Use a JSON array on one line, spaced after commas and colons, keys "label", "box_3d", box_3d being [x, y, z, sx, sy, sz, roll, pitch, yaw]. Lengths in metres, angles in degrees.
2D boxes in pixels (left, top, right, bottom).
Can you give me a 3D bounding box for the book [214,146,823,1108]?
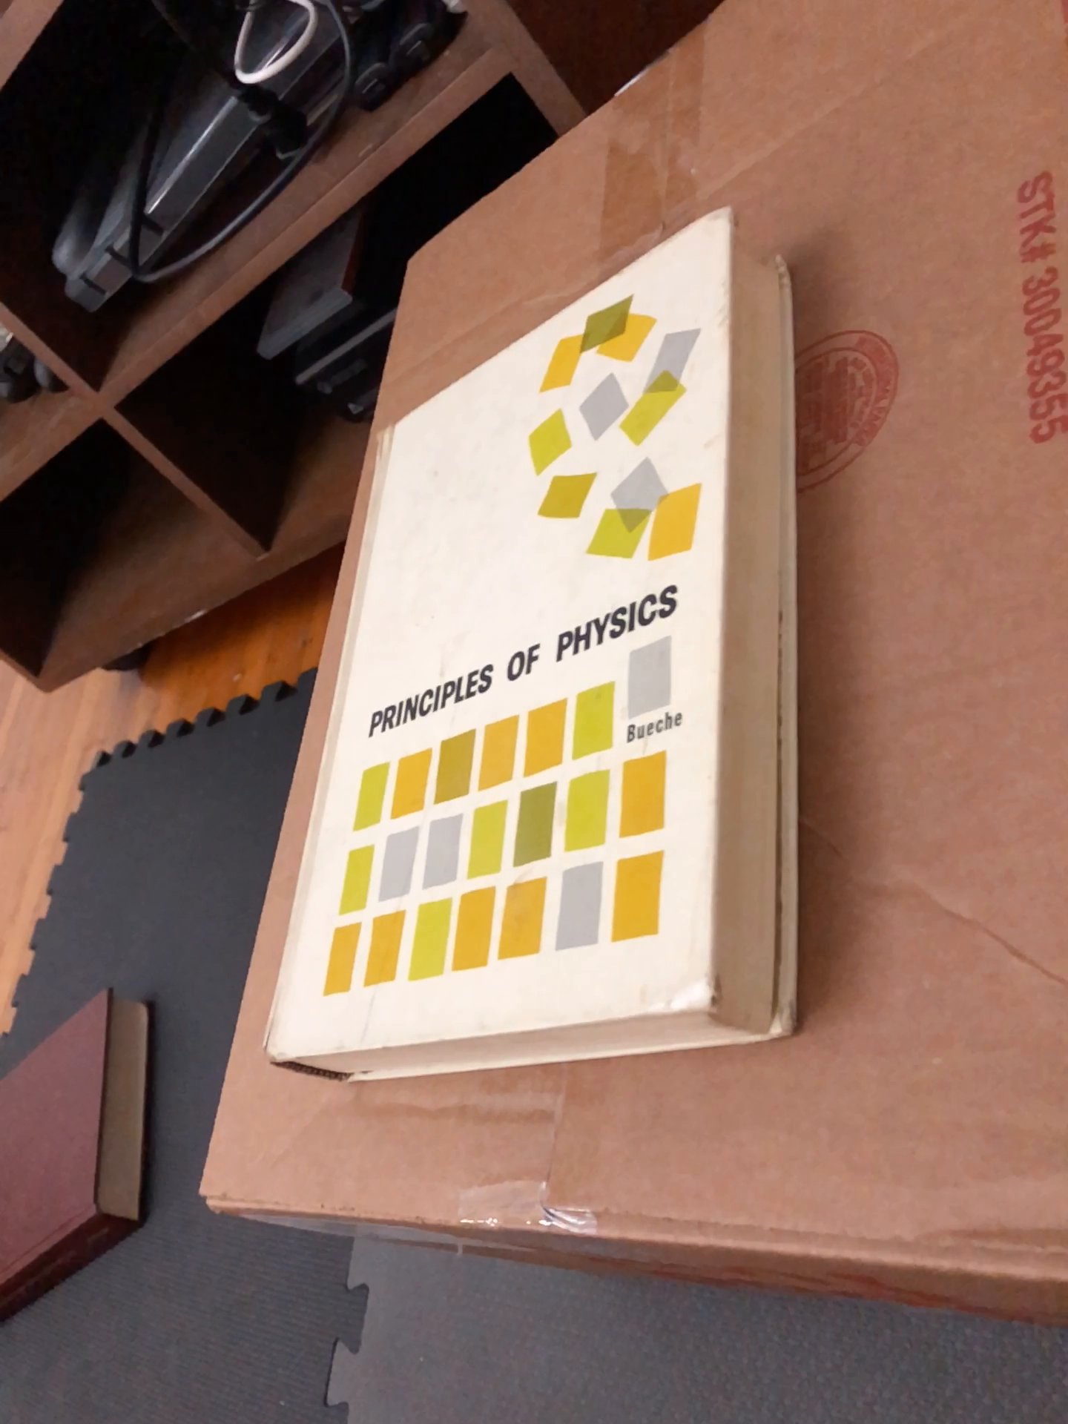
[{"label": "book", "box_3d": [-0.004, -0.018, 0.351, 0.180, 0.040, 0.251, -20, 53, 42]}]
